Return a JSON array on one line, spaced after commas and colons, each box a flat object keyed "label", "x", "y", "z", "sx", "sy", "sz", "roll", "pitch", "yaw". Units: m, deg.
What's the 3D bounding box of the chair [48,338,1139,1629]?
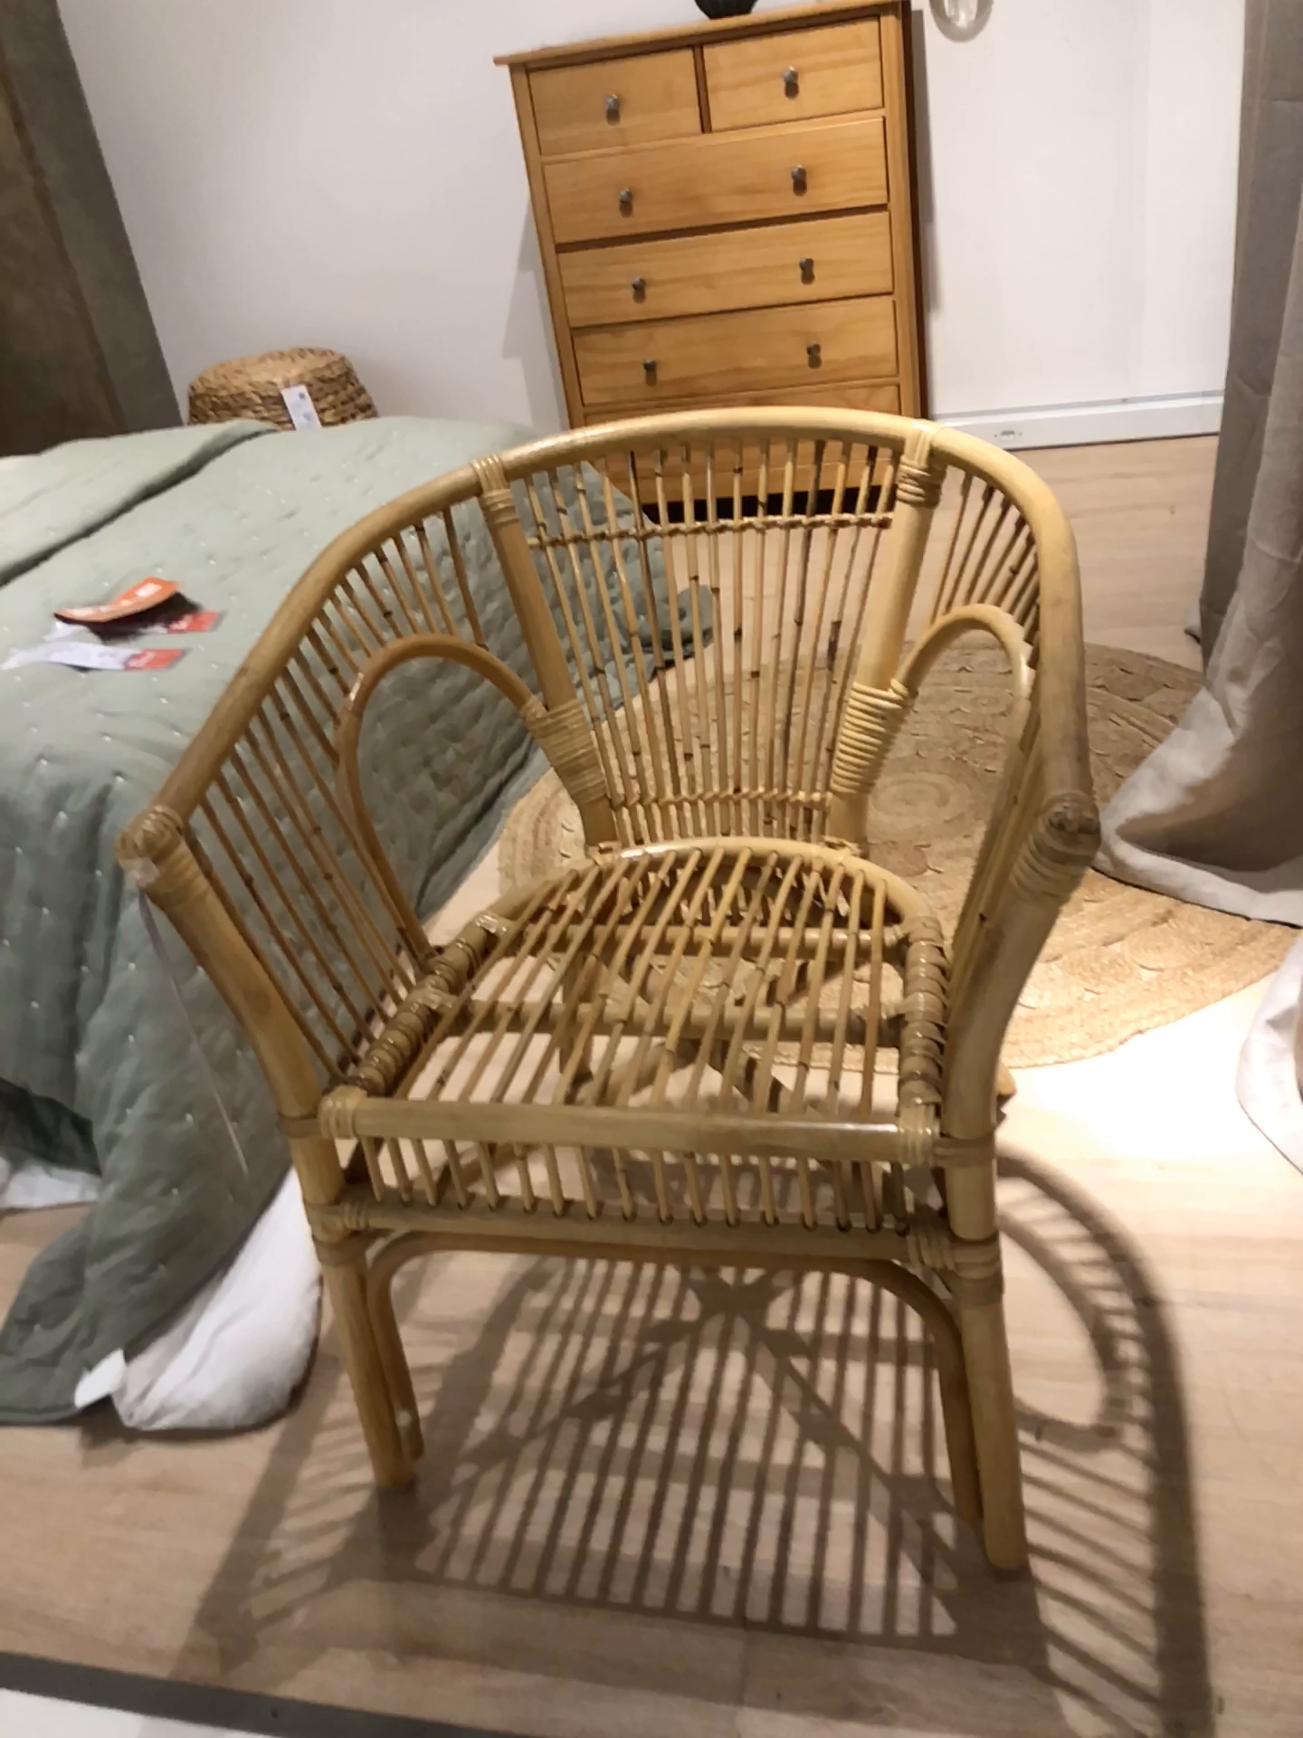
[{"label": "chair", "x": 0.068, "y": 0.050, "z": 1.176, "sx": 0.590, "sy": 0.754, "sz": 0.635, "roll": 1, "pitch": 31, "yaw": 16}]
